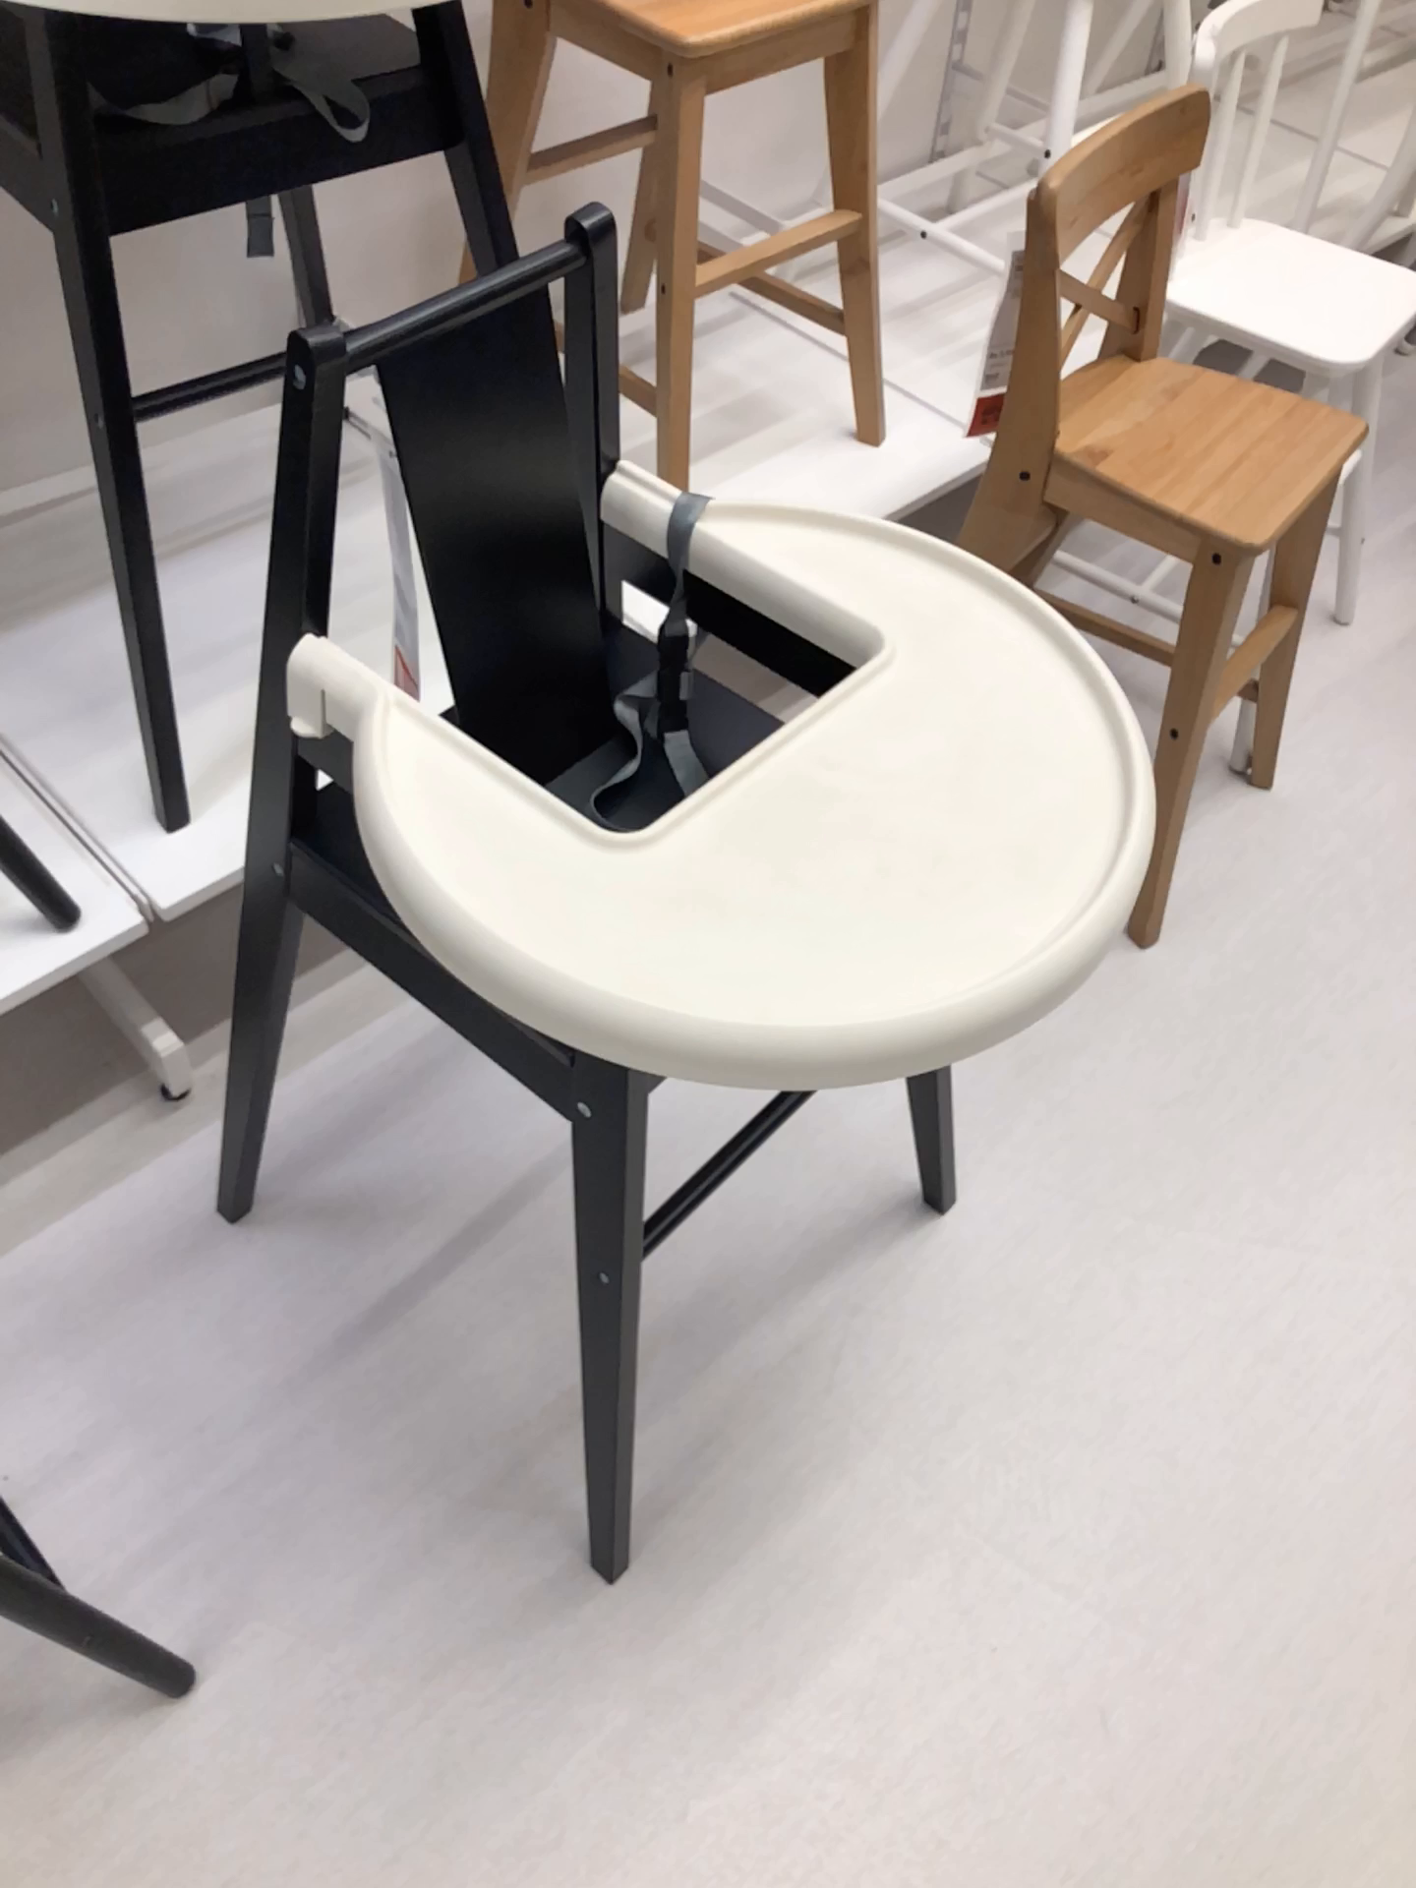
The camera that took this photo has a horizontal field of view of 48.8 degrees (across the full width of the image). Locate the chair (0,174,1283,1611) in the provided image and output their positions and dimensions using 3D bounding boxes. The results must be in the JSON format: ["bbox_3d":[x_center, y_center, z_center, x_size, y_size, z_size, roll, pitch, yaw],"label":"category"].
[{"bbox_3d":[-0.069,-0.022,1.196,0.551,0.775,0.552,36,56,24],"label":"chair"}]
